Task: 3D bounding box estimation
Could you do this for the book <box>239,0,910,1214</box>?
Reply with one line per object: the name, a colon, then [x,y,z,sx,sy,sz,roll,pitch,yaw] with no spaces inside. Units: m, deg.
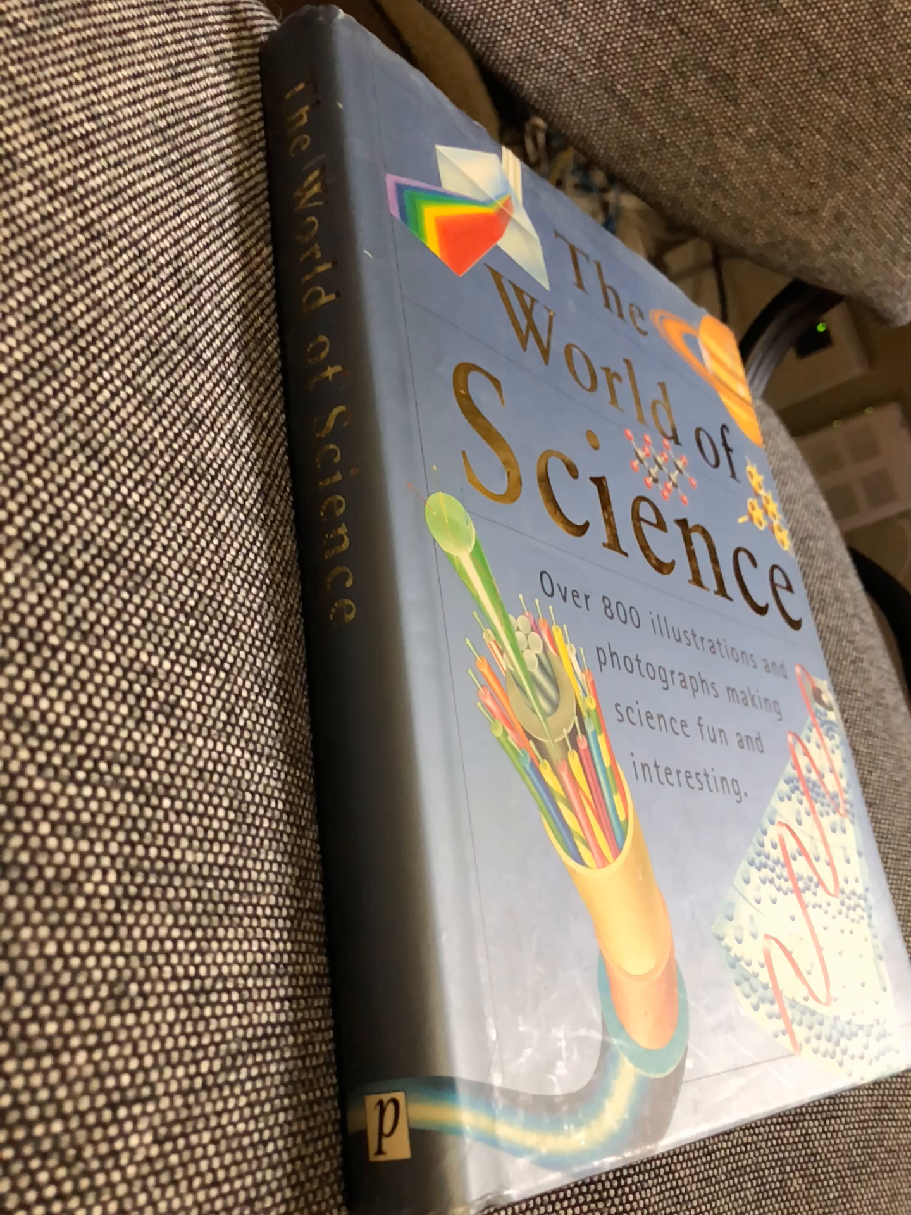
book: [0.045,-0.006,0.287,0.222,0.030,0.276,16,59,-47]
